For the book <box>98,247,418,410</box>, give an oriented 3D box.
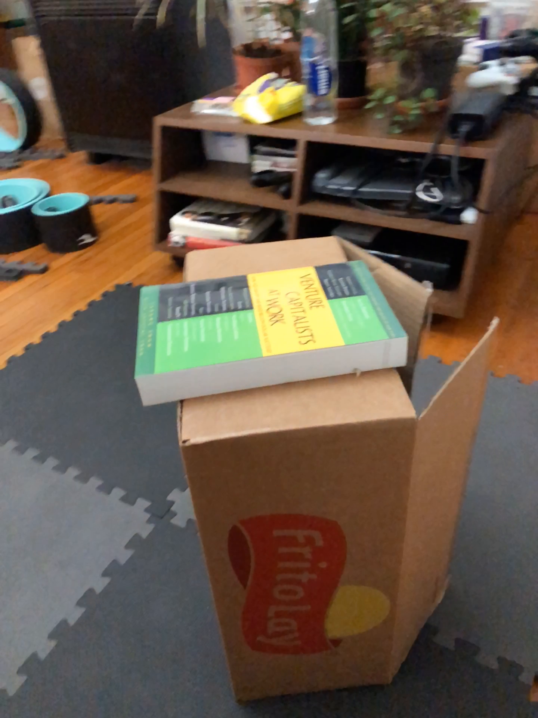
[{"bbox_3d":[-0.014,-0.037,0.552,0.260,0.040,0.161,-8,36,-2],"label":"book"}]
